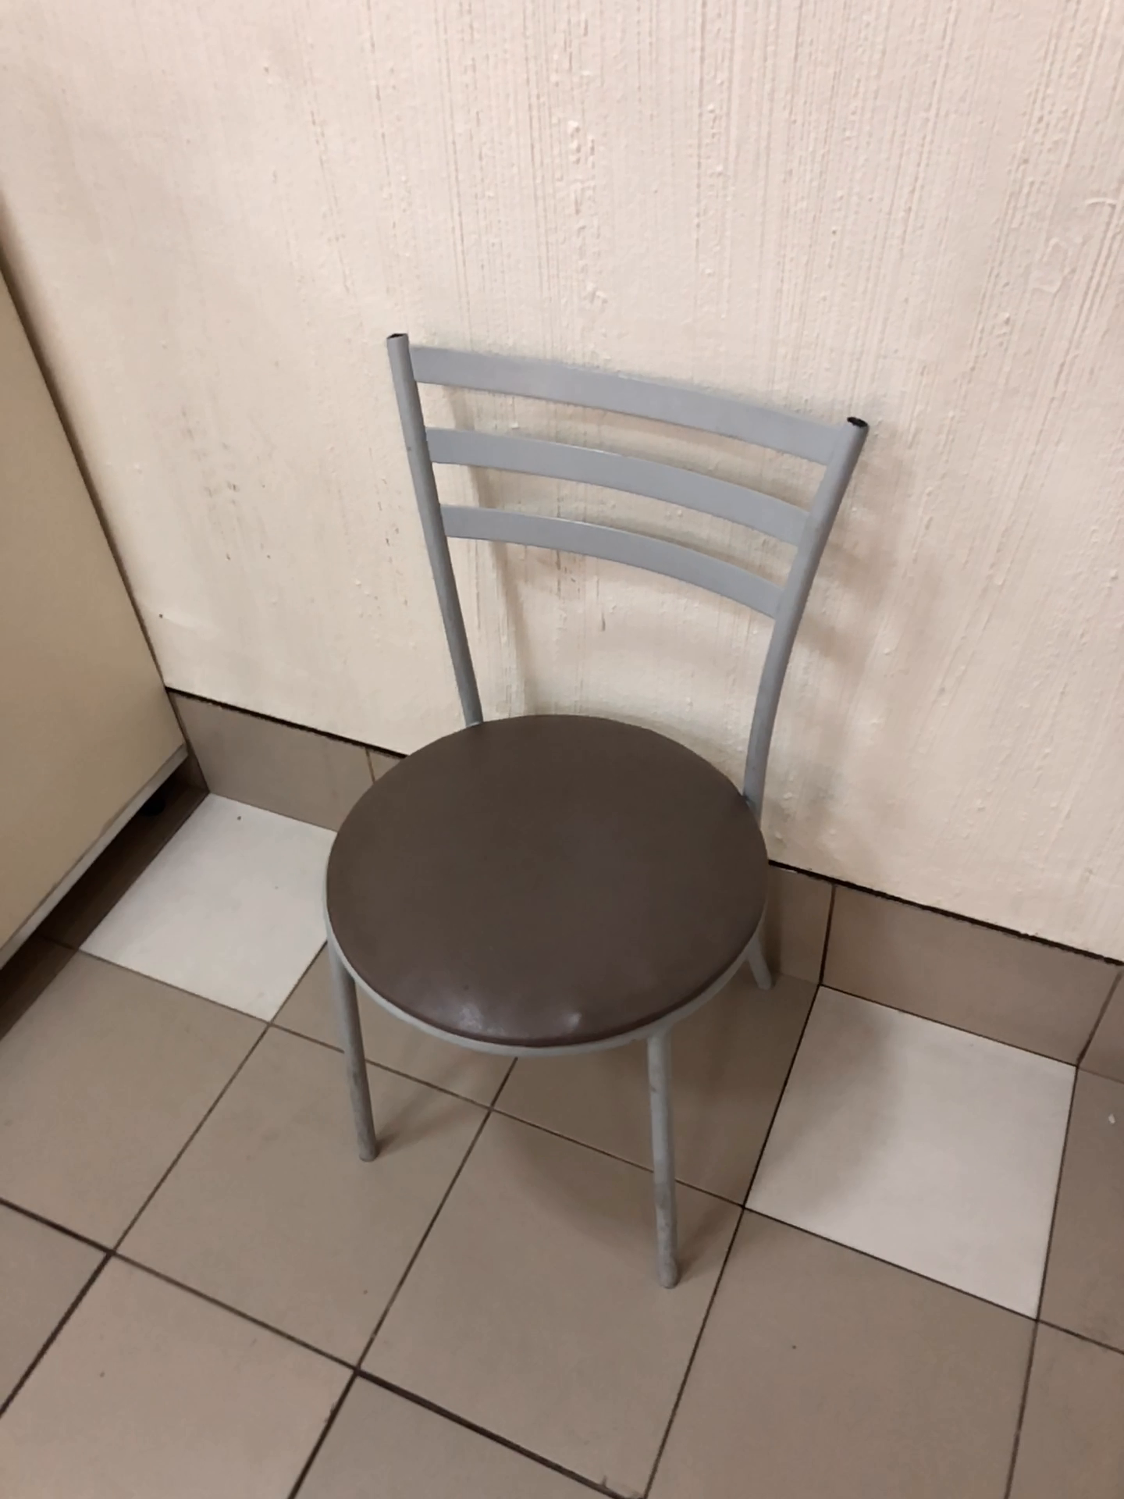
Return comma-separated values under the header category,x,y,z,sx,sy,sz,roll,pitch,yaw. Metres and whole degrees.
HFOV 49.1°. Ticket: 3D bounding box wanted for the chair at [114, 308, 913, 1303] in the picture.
category,x,y,z,sx,sy,sz,roll,pitch,yaw
chair,0.008,0.079,1.139,0.430,0.765,0.423,15,48,18
